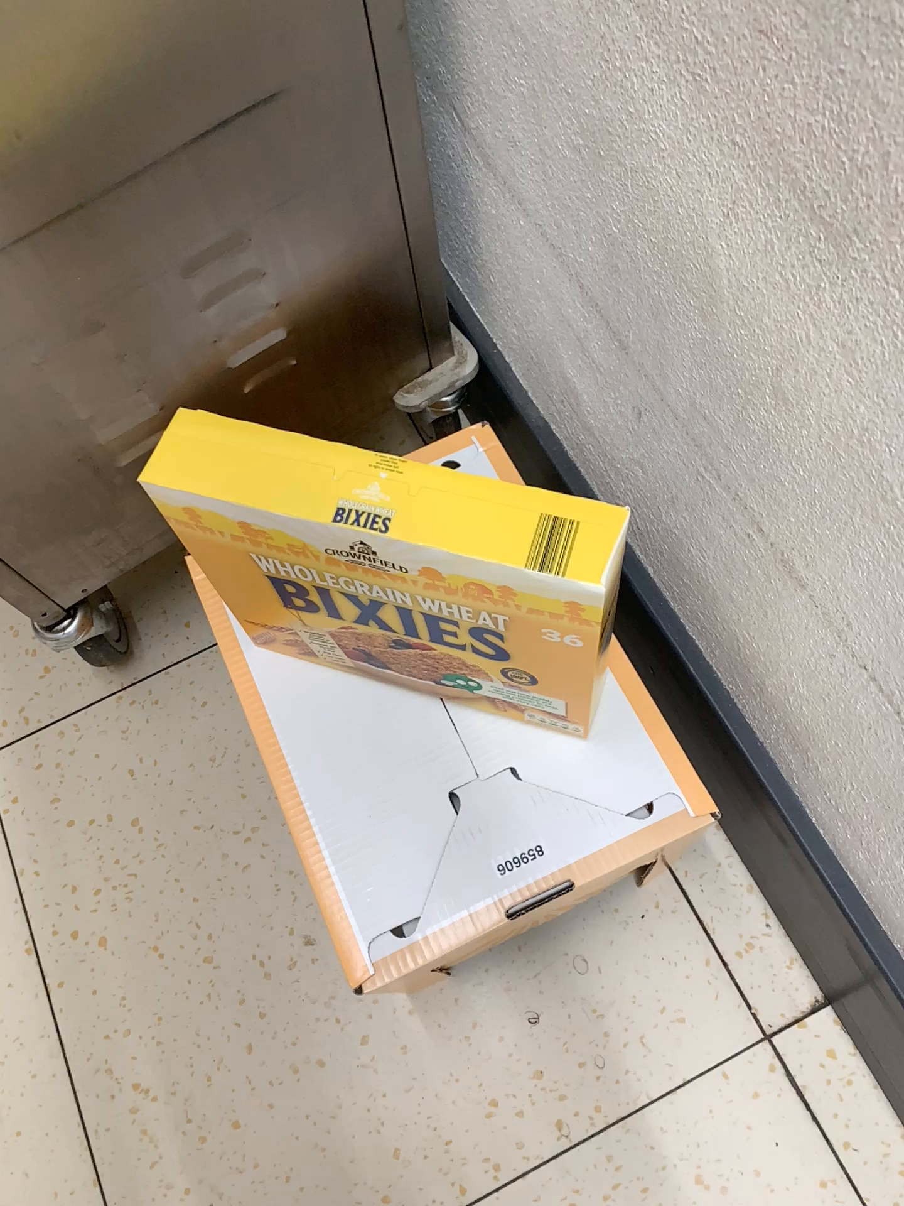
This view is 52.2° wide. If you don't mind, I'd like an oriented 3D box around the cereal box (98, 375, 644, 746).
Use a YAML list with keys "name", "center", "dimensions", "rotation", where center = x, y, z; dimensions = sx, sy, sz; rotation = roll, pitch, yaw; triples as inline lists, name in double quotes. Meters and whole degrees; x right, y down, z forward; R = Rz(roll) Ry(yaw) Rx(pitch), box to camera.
- name: "cereal box"
  center: [-0.035, -0.012, 0.622]
  dimensions: [0.290, 0.279, 0.070]
  rotation: [14, 69, 12]
